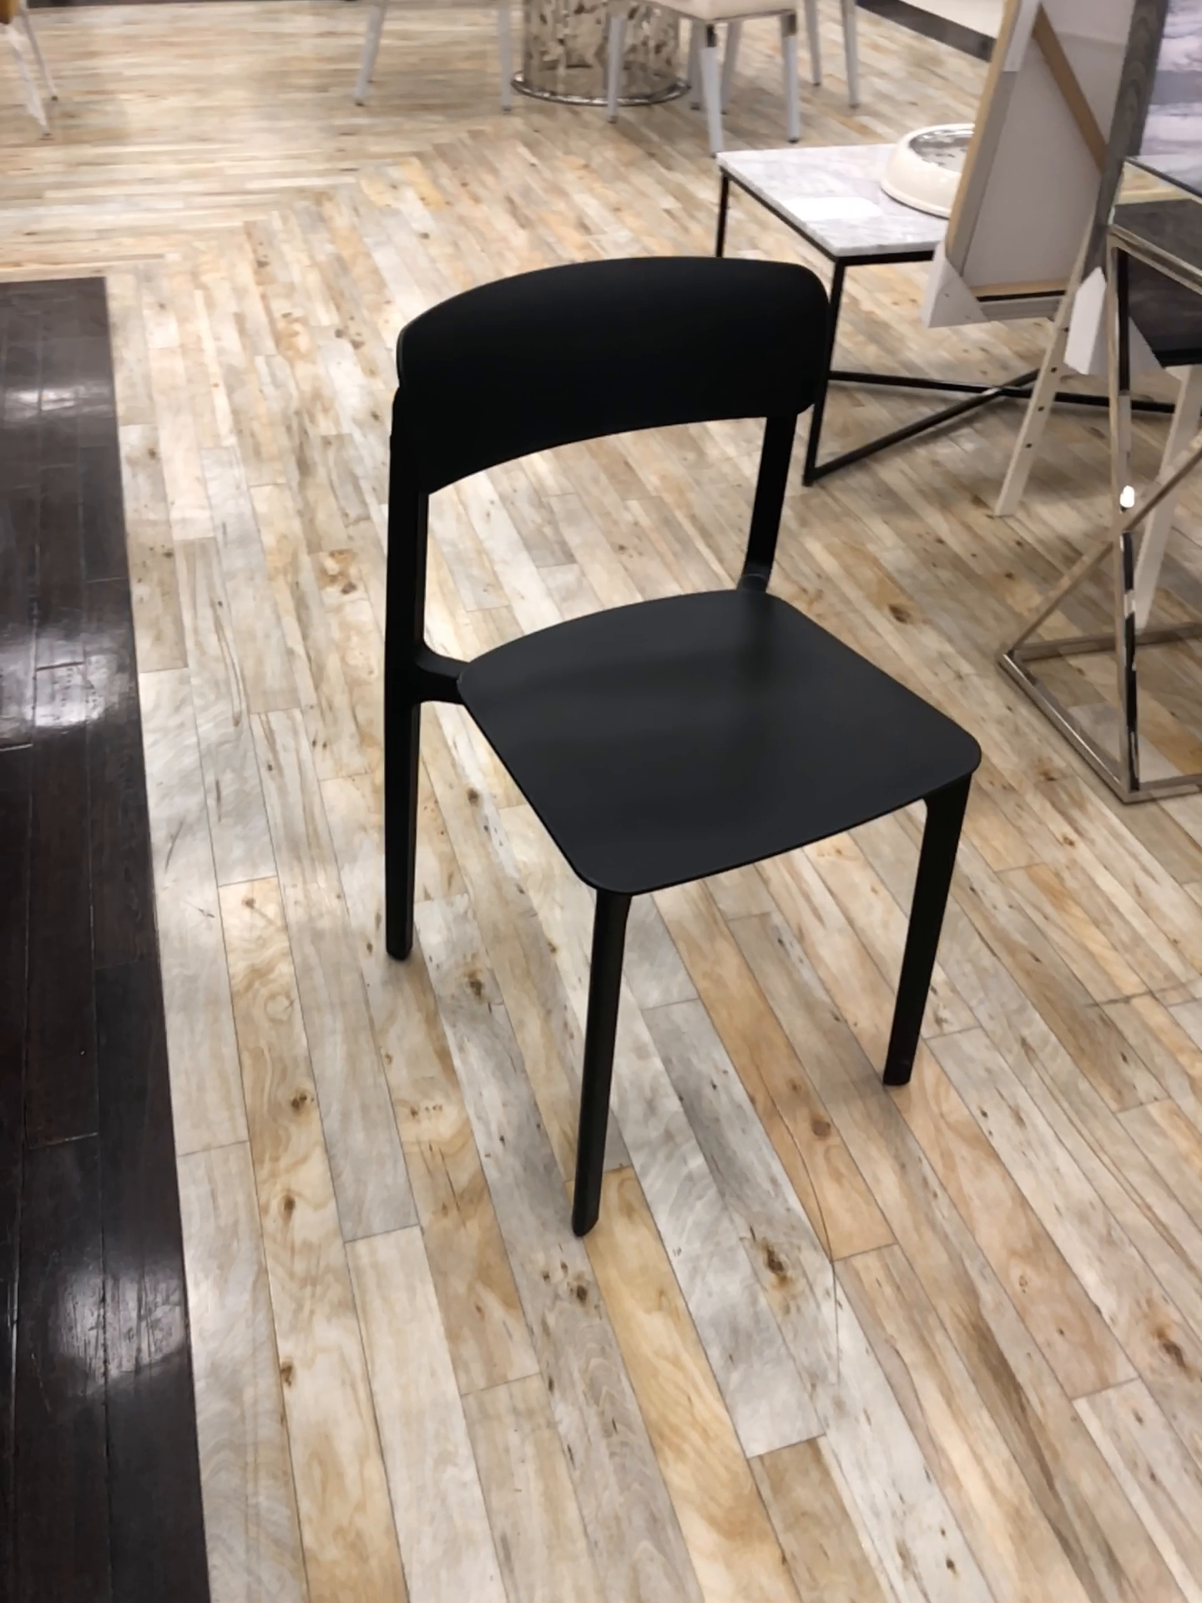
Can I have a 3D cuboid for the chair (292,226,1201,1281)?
[{"bbox_3d":[0.081,-0.066,1.250,0.501,0.707,0.542,-18,44,-23],"label":"chair"}]
